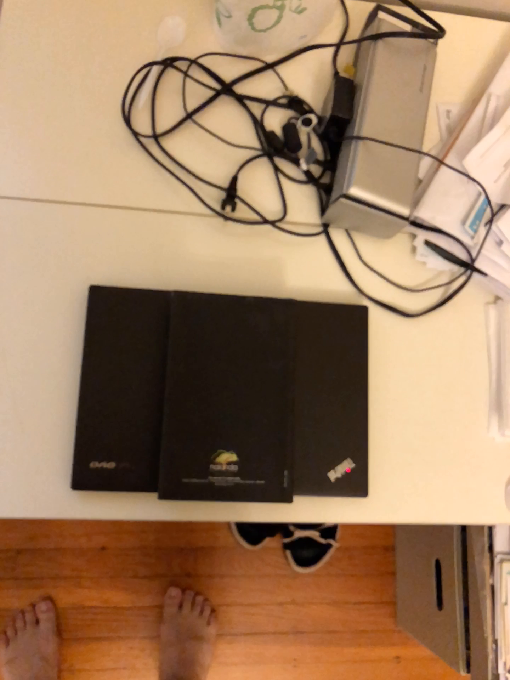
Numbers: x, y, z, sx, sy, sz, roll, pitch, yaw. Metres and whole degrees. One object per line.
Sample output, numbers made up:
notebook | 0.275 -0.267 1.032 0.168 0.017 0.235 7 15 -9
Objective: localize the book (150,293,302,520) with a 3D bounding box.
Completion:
book | -0.029 0.070 0.612 0.150 0.040 0.230 3 78 -8
